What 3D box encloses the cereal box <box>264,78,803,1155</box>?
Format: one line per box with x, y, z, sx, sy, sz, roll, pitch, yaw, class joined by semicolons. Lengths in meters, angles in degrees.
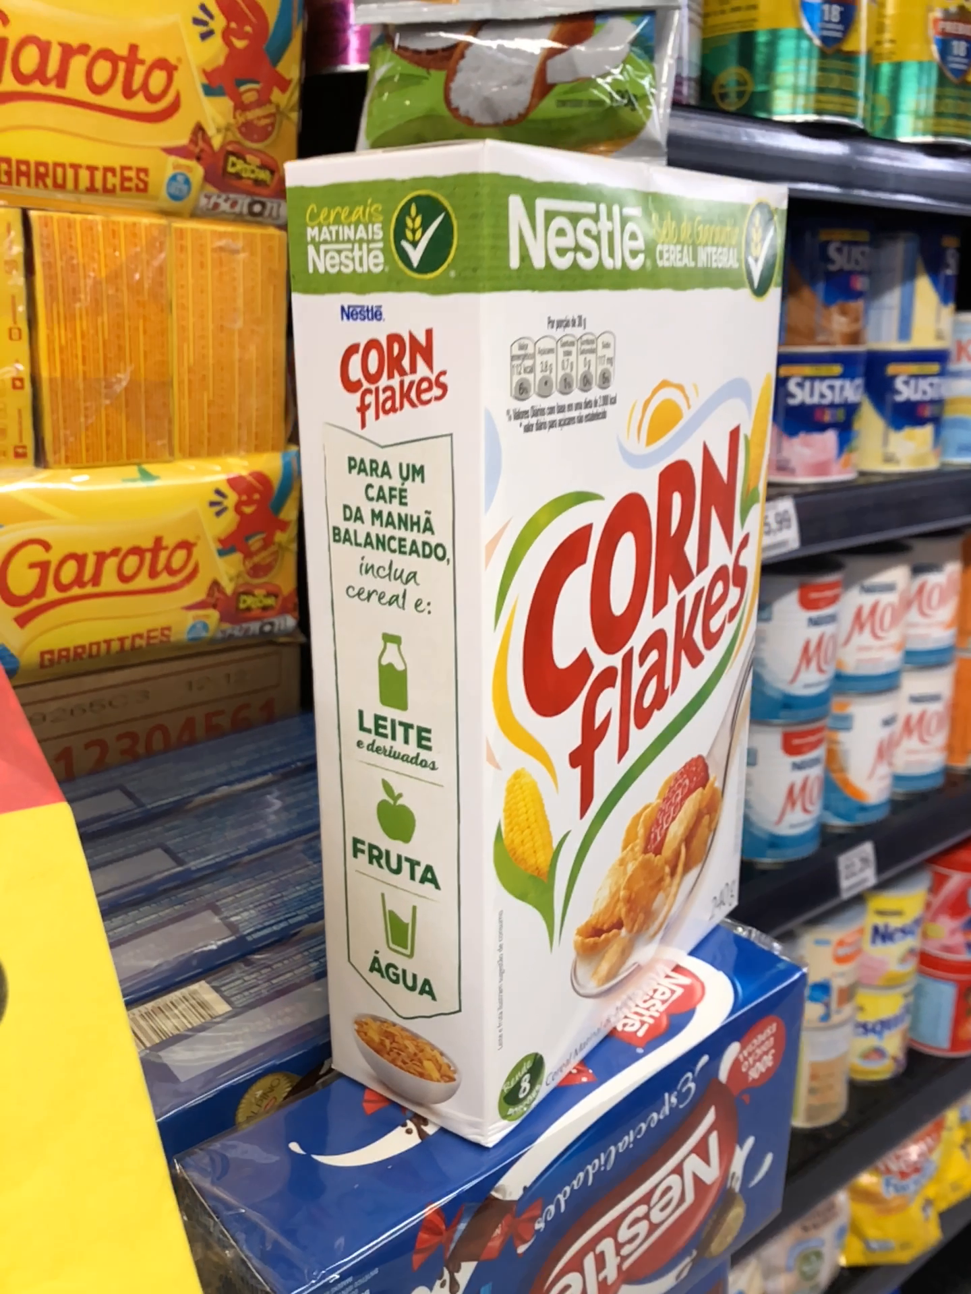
0.024;-0.015;0.324;0.060;0.249;0.171;12;20;34;cereal box
